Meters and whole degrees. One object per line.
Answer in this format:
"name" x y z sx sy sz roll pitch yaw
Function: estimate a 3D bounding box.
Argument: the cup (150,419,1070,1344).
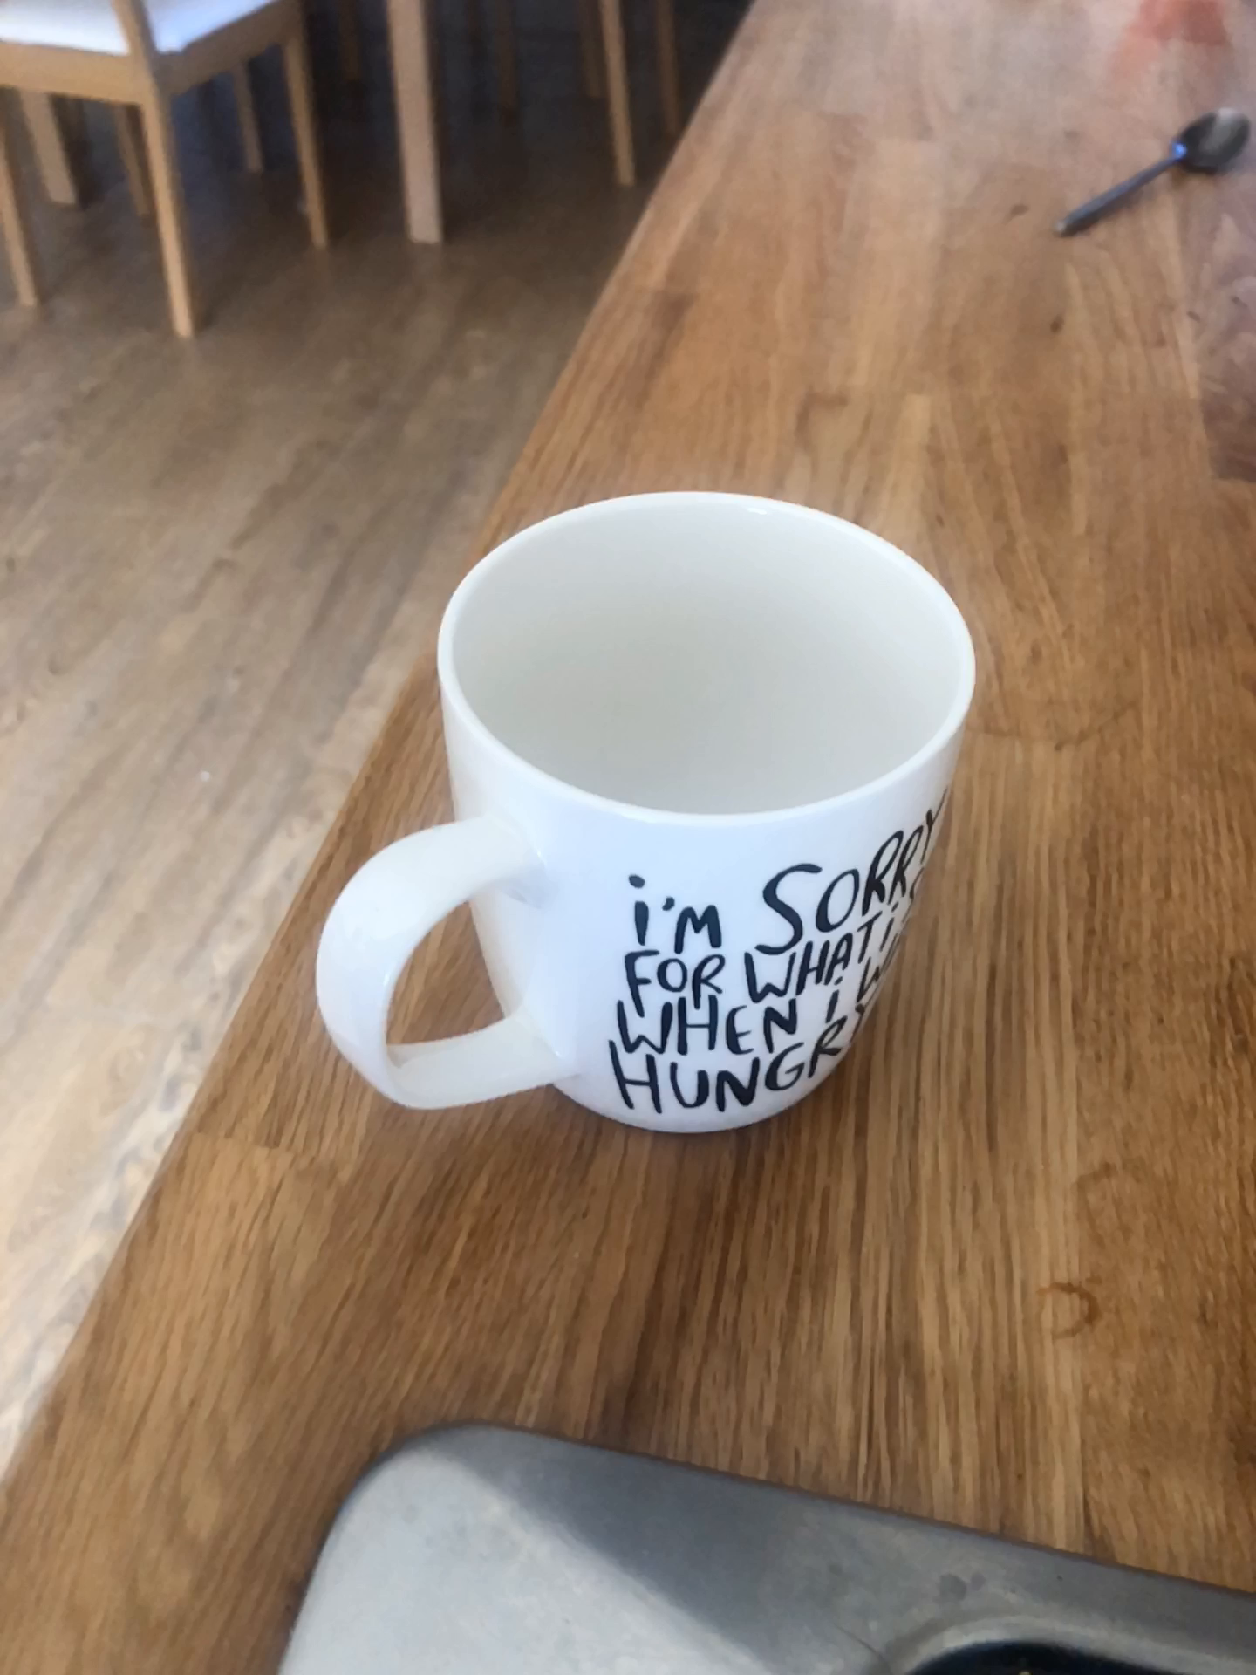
"cup" -0.001 0.001 0.250 0.115 0.087 0.090 -35 55 -30
